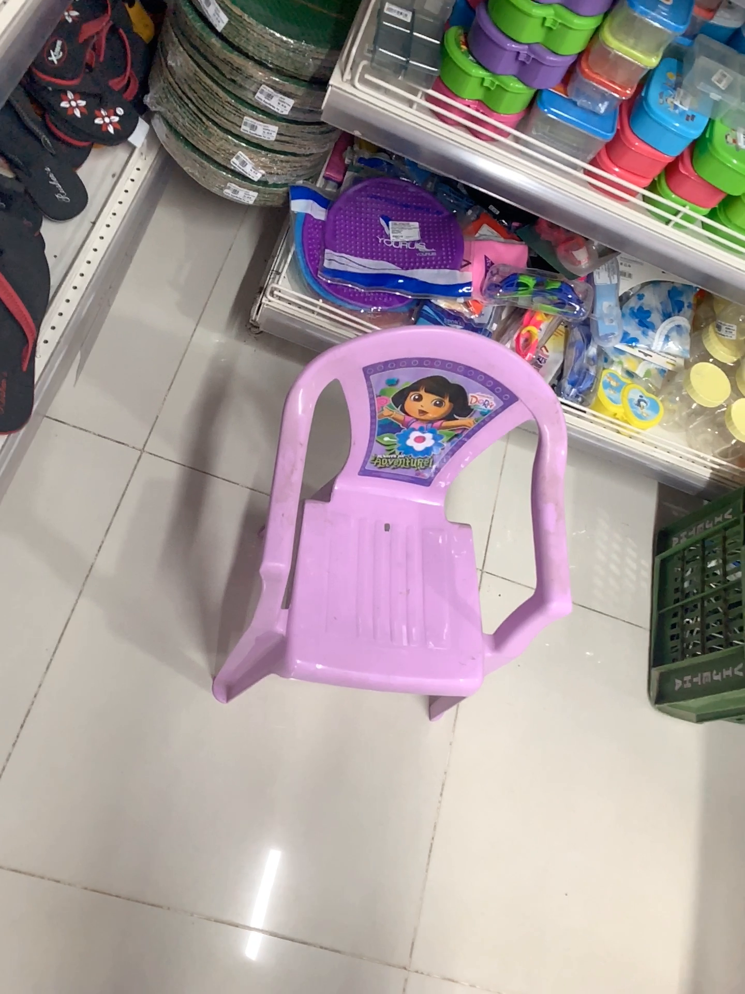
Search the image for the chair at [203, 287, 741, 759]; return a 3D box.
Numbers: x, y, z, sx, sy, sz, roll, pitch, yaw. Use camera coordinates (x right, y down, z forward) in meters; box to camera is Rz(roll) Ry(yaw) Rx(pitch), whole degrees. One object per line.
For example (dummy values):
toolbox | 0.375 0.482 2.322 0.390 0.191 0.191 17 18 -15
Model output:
chair | 0.058 0.082 0.830 0.400 0.429 0.340 9 66 -14
